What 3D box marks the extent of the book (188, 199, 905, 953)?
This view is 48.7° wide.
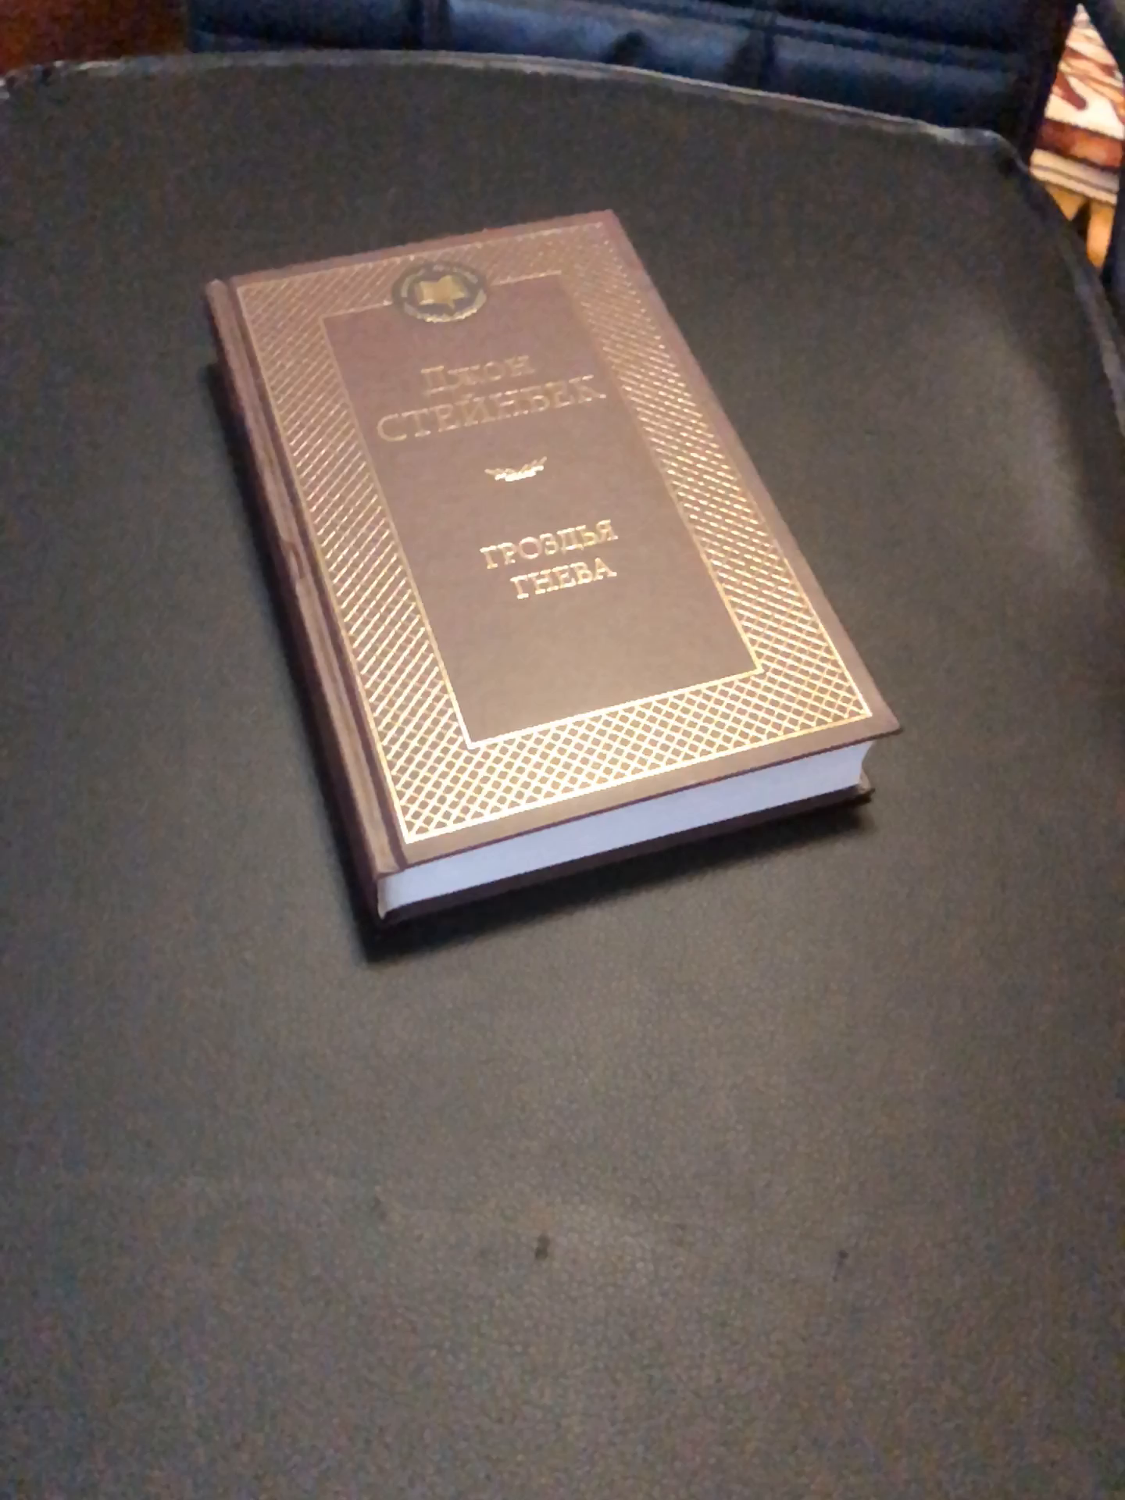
[{"bbox_3d":[-0.015,-0.061,0.340,0.130,0.040,0.200,-15,62,-12],"label":"book"}]
